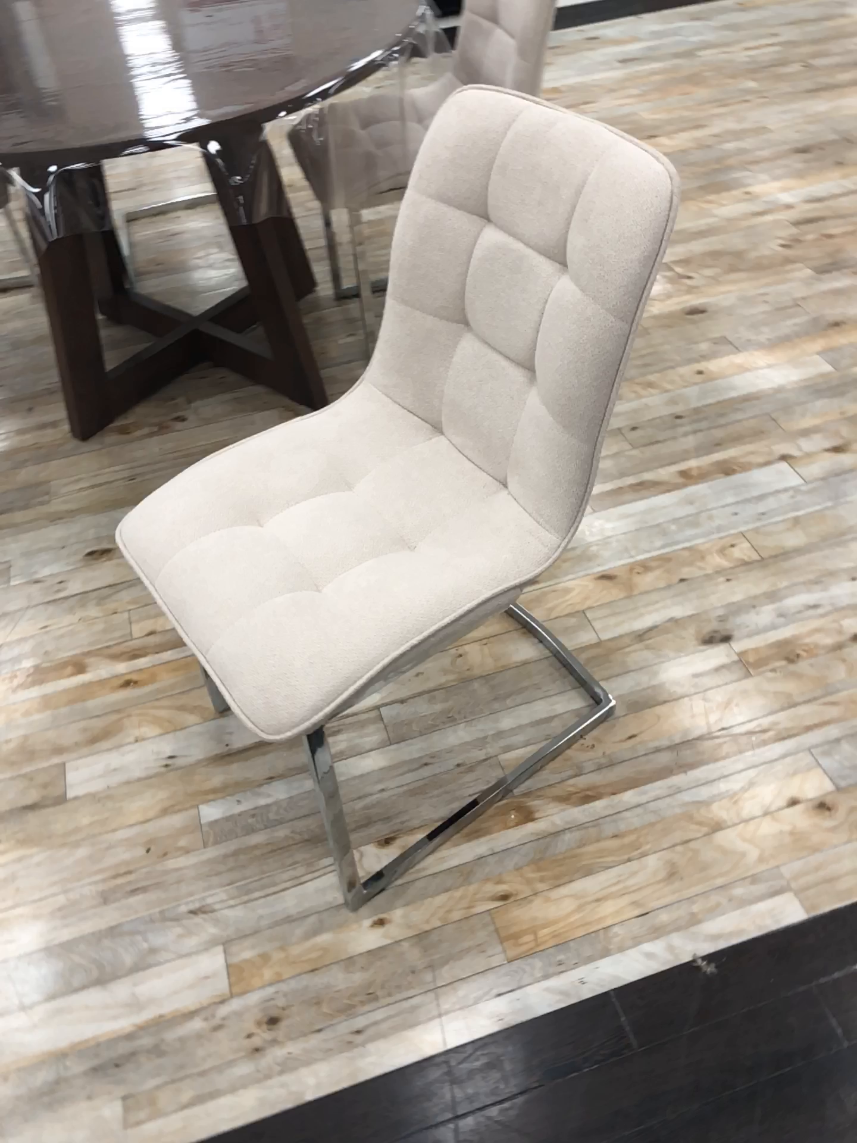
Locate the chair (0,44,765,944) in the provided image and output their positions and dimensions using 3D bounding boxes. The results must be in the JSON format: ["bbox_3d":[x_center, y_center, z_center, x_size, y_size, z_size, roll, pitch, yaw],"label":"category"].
[{"bbox_3d":[-0.052,-0.079,1.183,0.590,0.837,0.491,-27,48,-20],"label":"chair"}]
